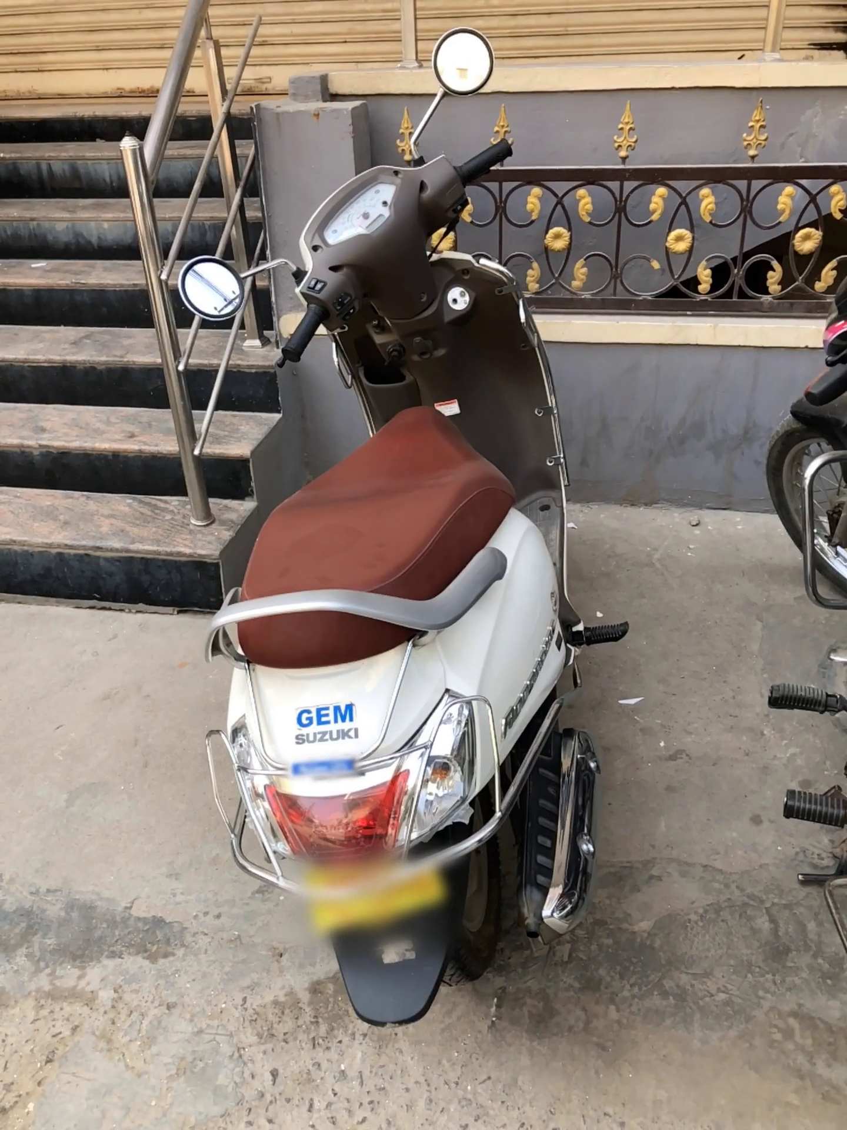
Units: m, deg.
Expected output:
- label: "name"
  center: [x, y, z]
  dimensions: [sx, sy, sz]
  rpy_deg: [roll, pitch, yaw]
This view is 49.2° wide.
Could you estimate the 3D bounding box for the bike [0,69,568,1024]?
- label: "bike"
  center: [-0.098, -0.199, 1.851]
  dimensions: [0.597, 1.194, 1.494]
  rpy_deg: [0, 33, 4]
